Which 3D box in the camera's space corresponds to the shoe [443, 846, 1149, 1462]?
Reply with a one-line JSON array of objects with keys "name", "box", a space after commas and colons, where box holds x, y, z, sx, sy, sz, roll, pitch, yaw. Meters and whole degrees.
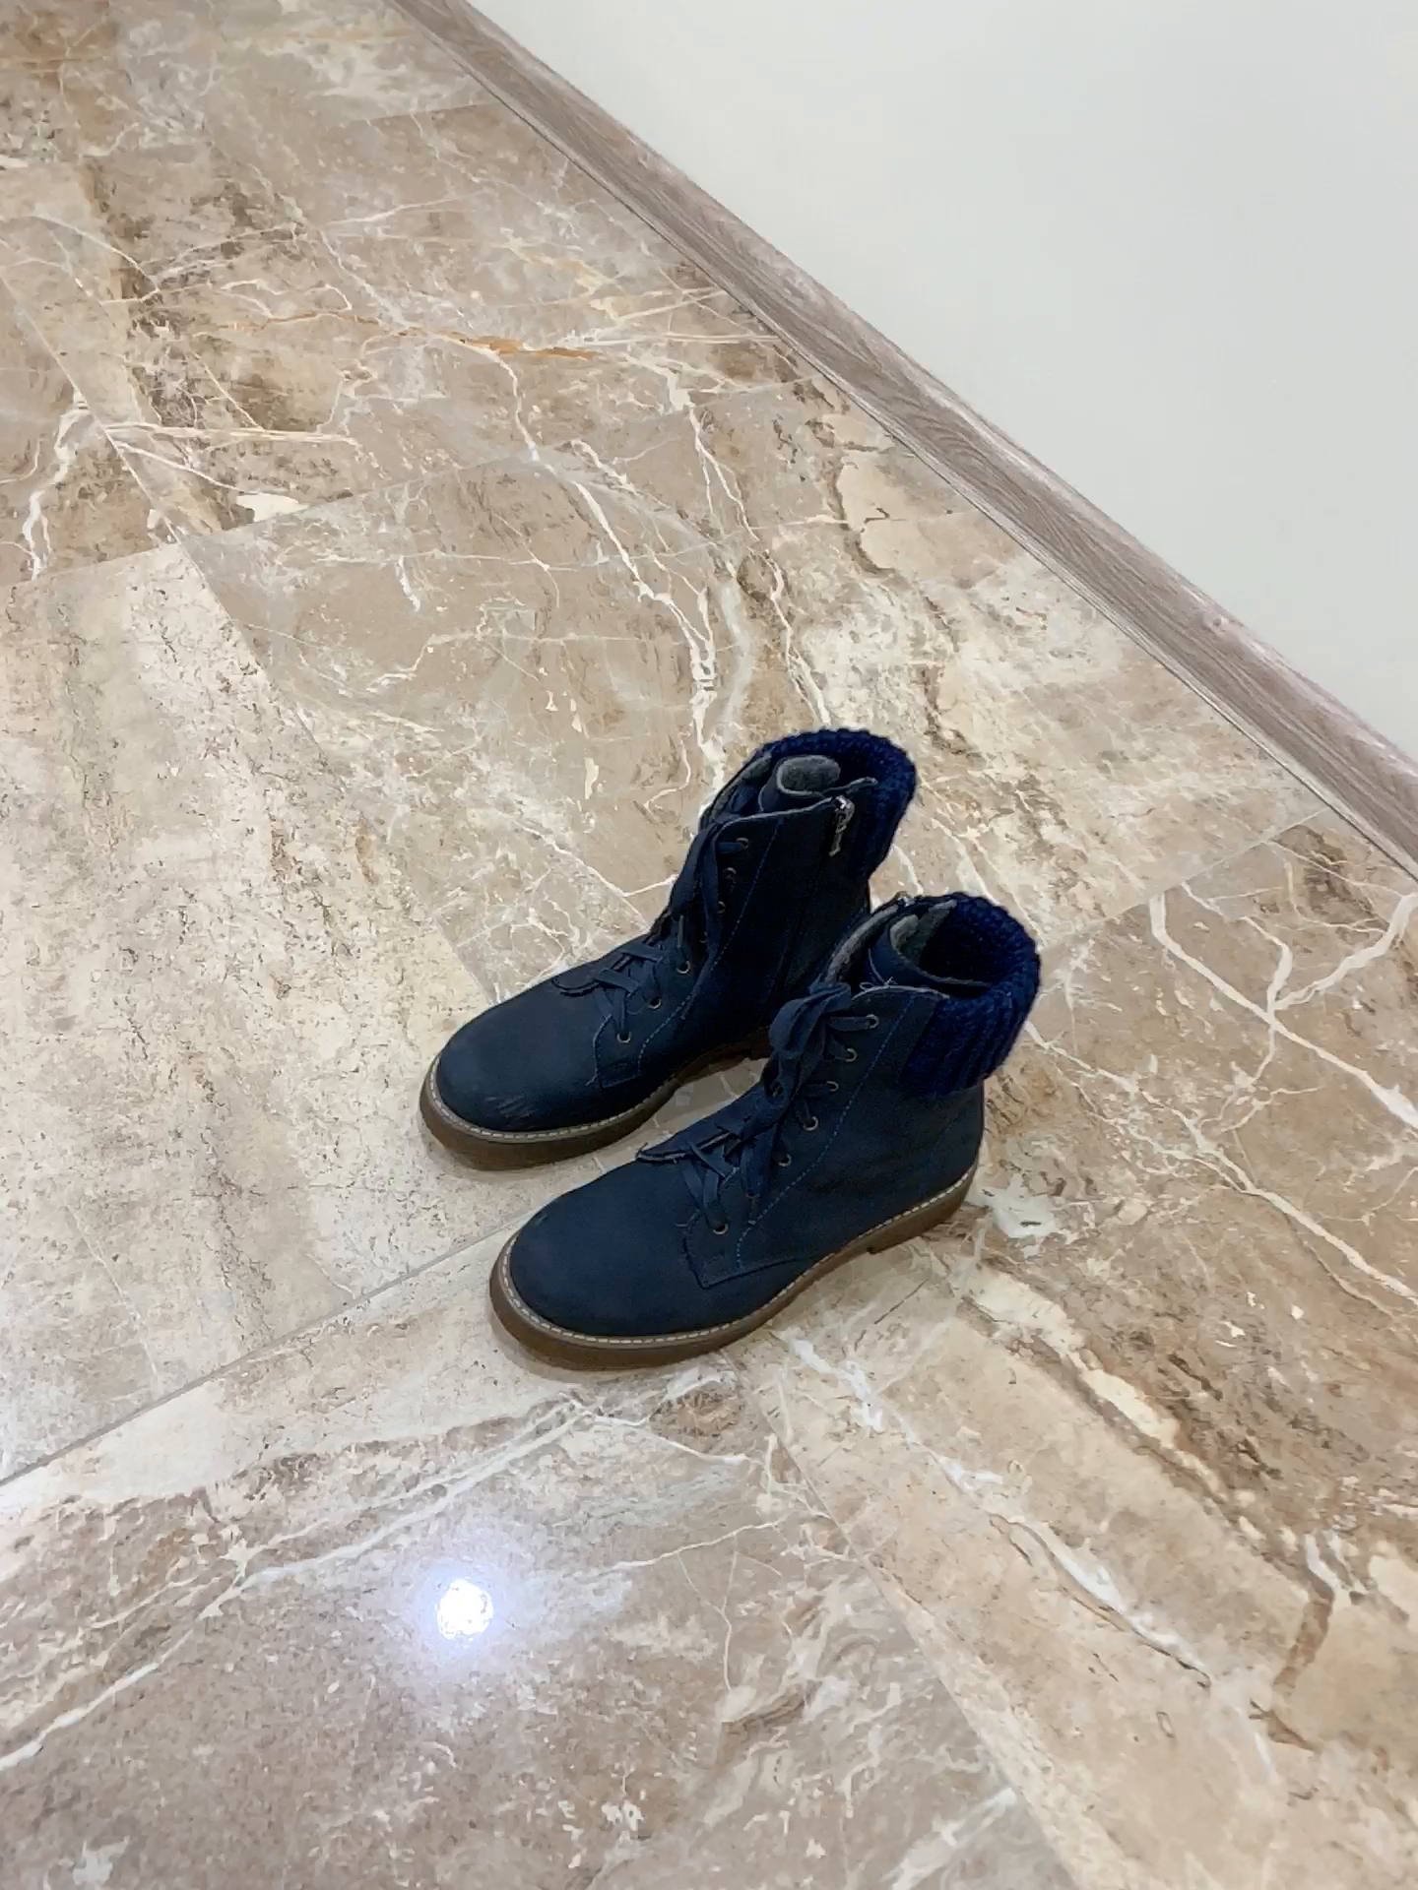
[{"name": "shoe", "box": [0.028, 0.093, 0.641, 0.260, 0.199, 0.102, -18, 56, -21]}]

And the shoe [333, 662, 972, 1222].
[{"name": "shoe", "box": [-0.031, -0.001, 0.708, 0.260, 0.199, 0.102, -18, 56, -21]}]
